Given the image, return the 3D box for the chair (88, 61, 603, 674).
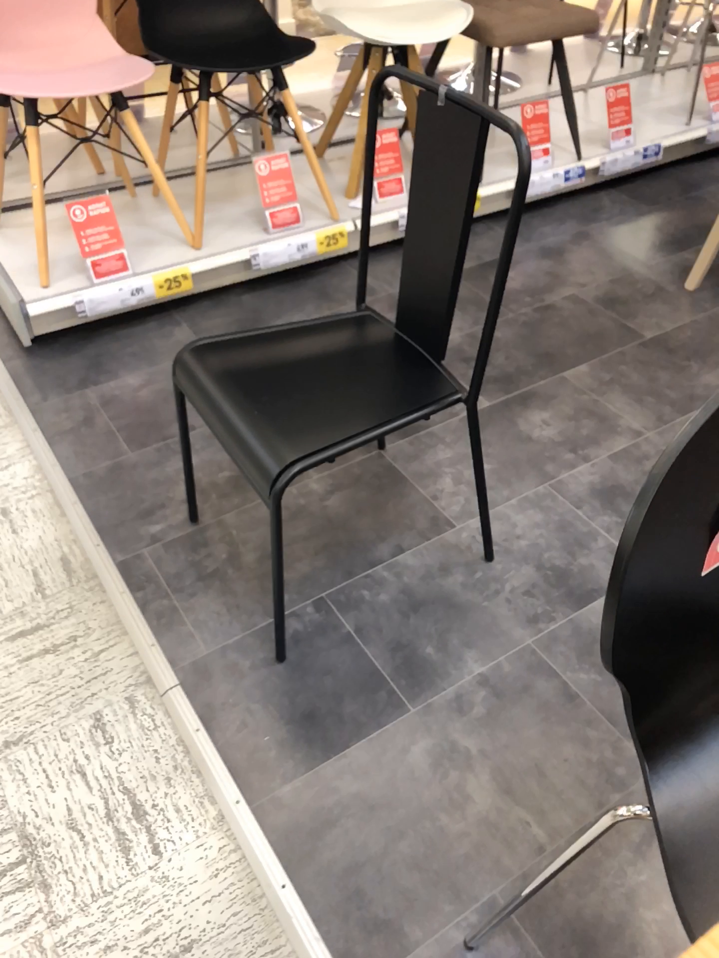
[{"bbox_3d":[-0.029,-0.187,1.374,0.572,0.815,0.441,-23,47,-24],"label":"chair"}]
